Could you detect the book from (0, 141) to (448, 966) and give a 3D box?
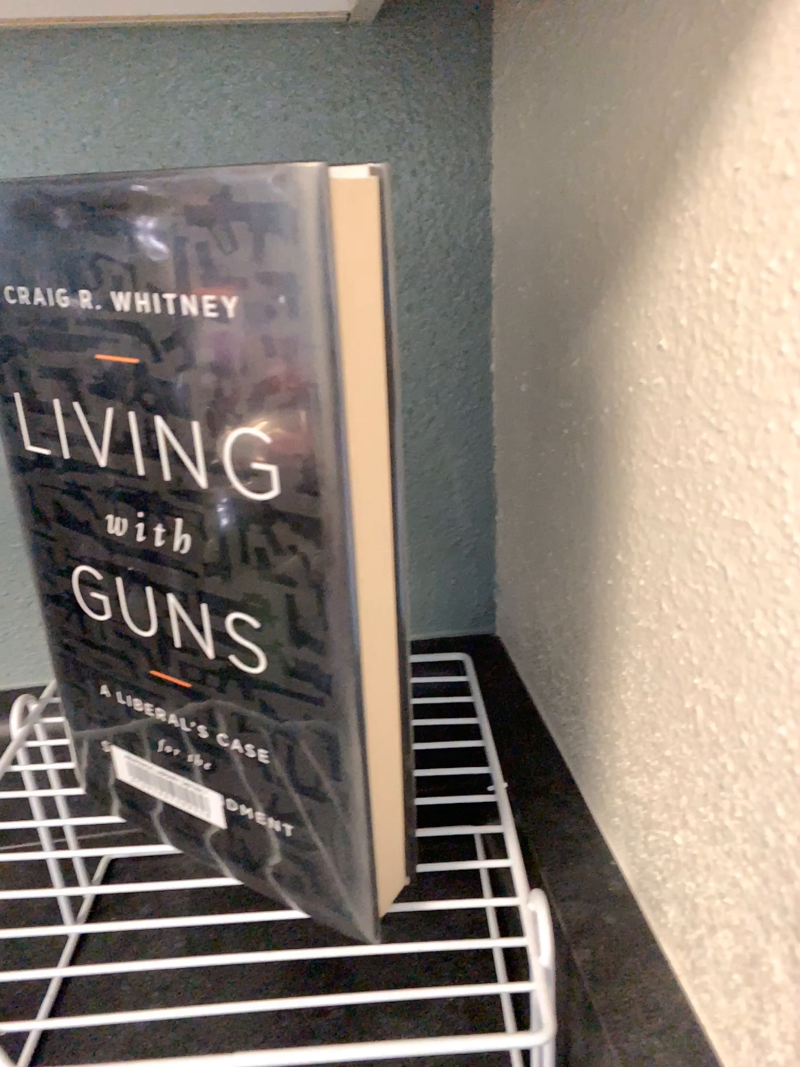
[{"bbox_3d":[-0.069,0.004,0.279,0.171,0.229,0.040,10,20,33],"label":"book"}]
